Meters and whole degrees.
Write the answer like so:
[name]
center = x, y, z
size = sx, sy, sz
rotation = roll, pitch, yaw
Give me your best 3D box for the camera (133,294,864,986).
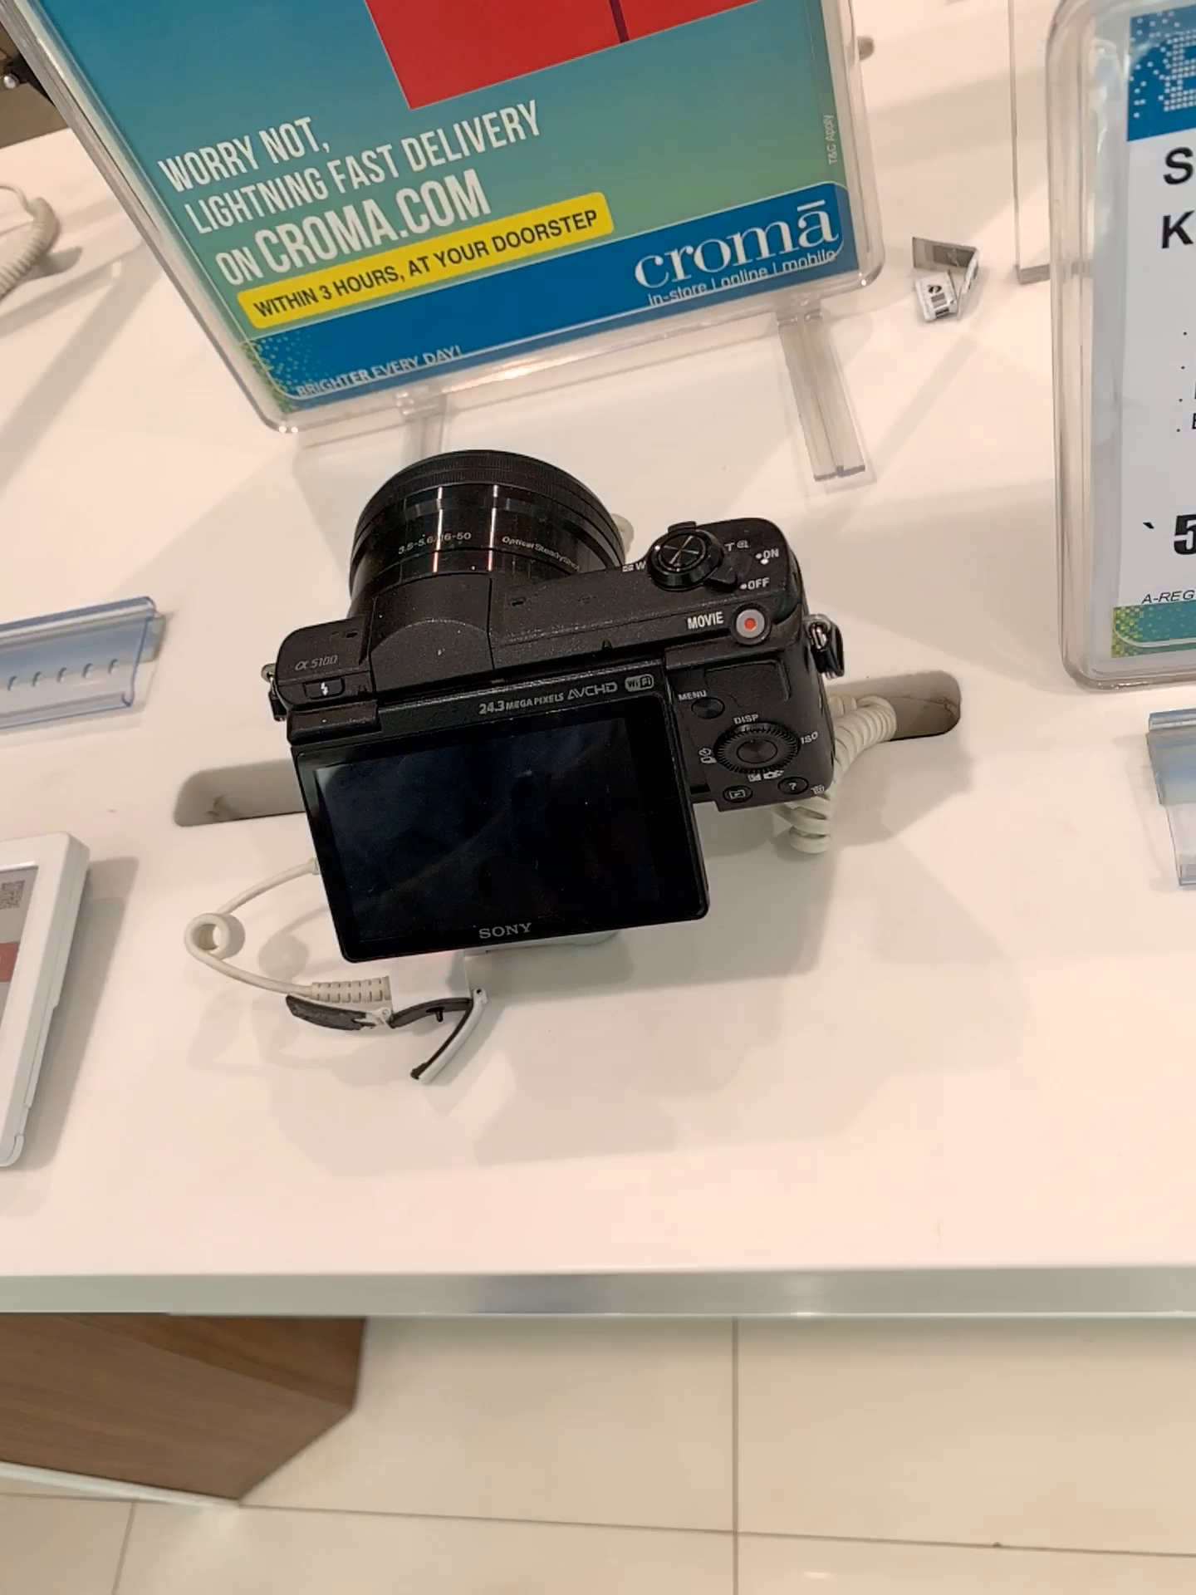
[camera]
center = -0.012, -0.026, 0.248
size = 0.110, 0.082, 0.088
rotation = -9, 55, 14
